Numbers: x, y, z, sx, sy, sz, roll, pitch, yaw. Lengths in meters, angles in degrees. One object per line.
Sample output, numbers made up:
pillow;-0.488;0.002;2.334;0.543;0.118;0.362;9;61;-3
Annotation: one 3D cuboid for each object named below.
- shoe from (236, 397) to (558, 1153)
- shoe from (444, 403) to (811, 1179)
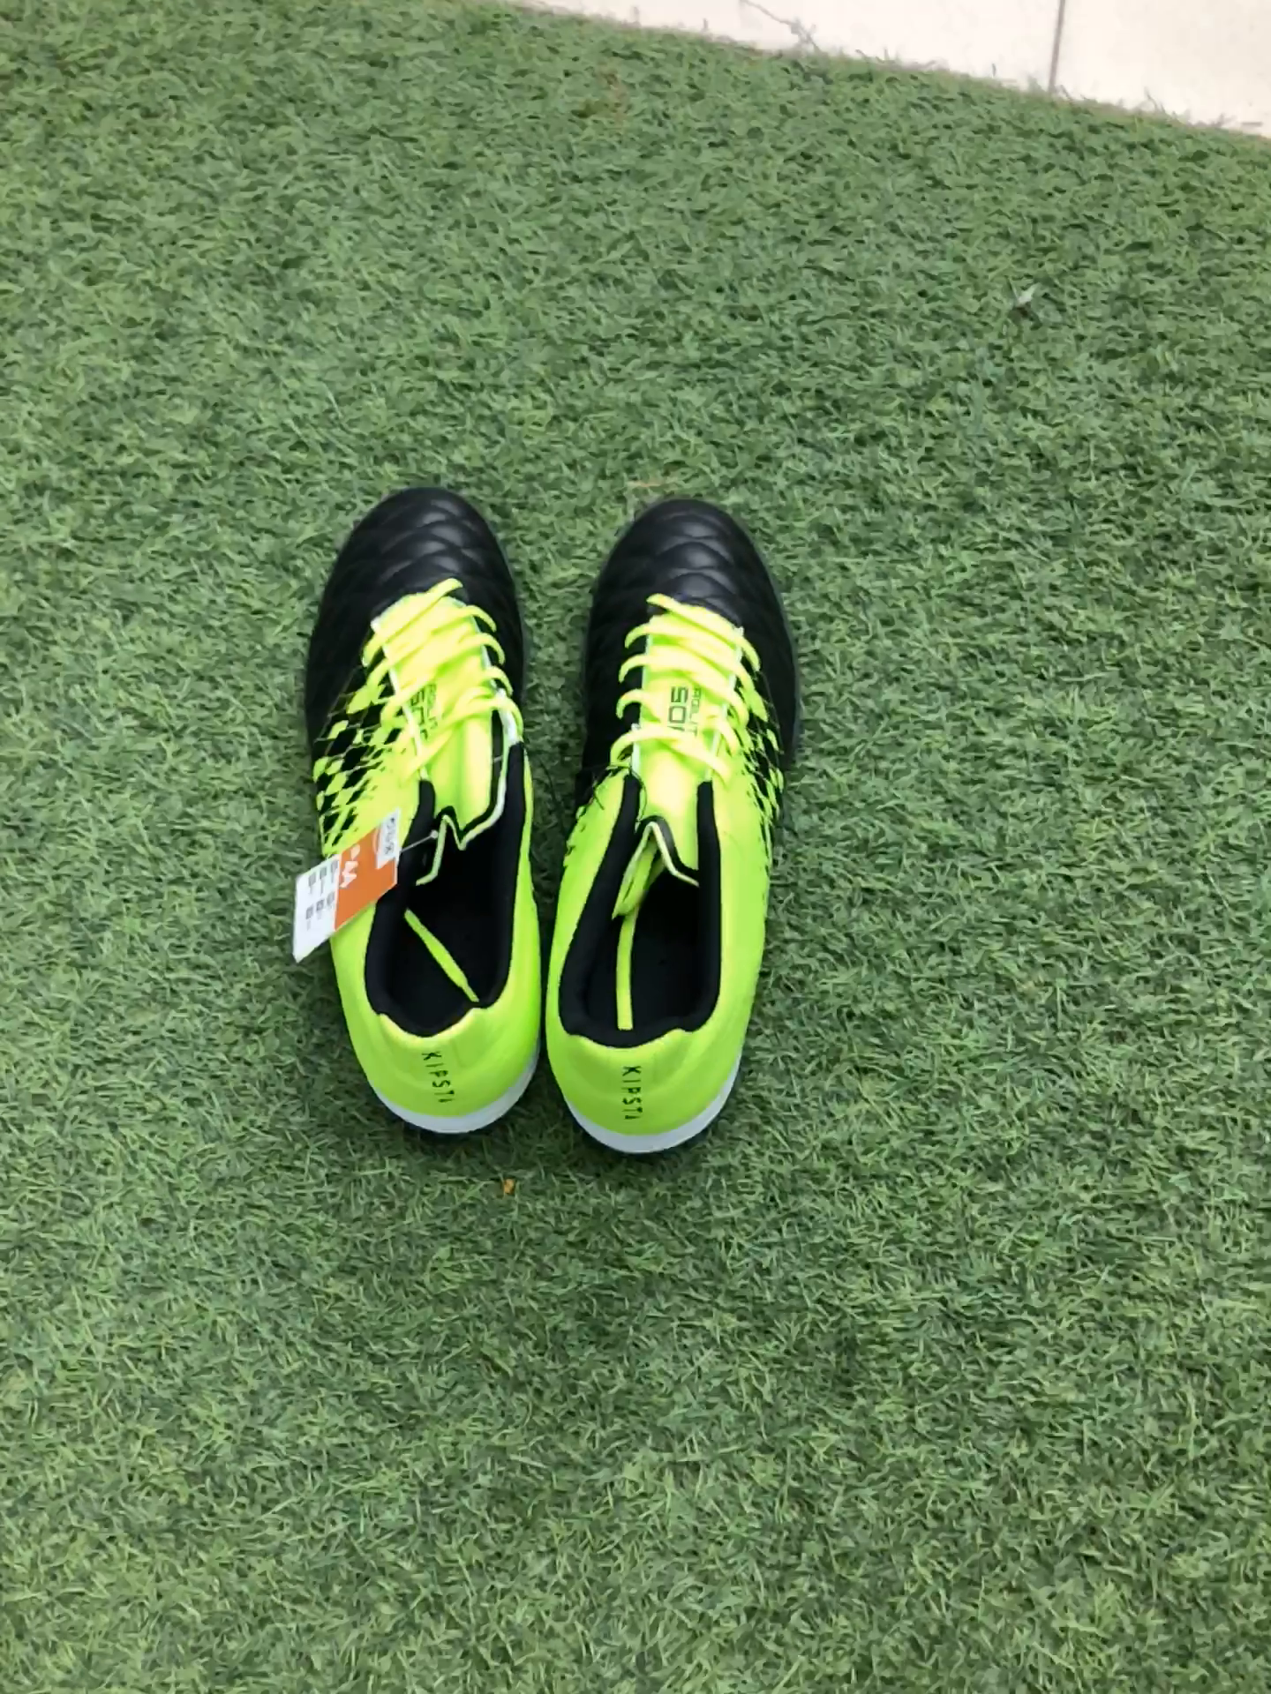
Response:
shoe;-0.089;-0.032;0.552;0.100;0.090;0.281;-3;68;-2
shoe;0.004;-0.025;0.545;0.100;0.090;0.281;6;68;2
